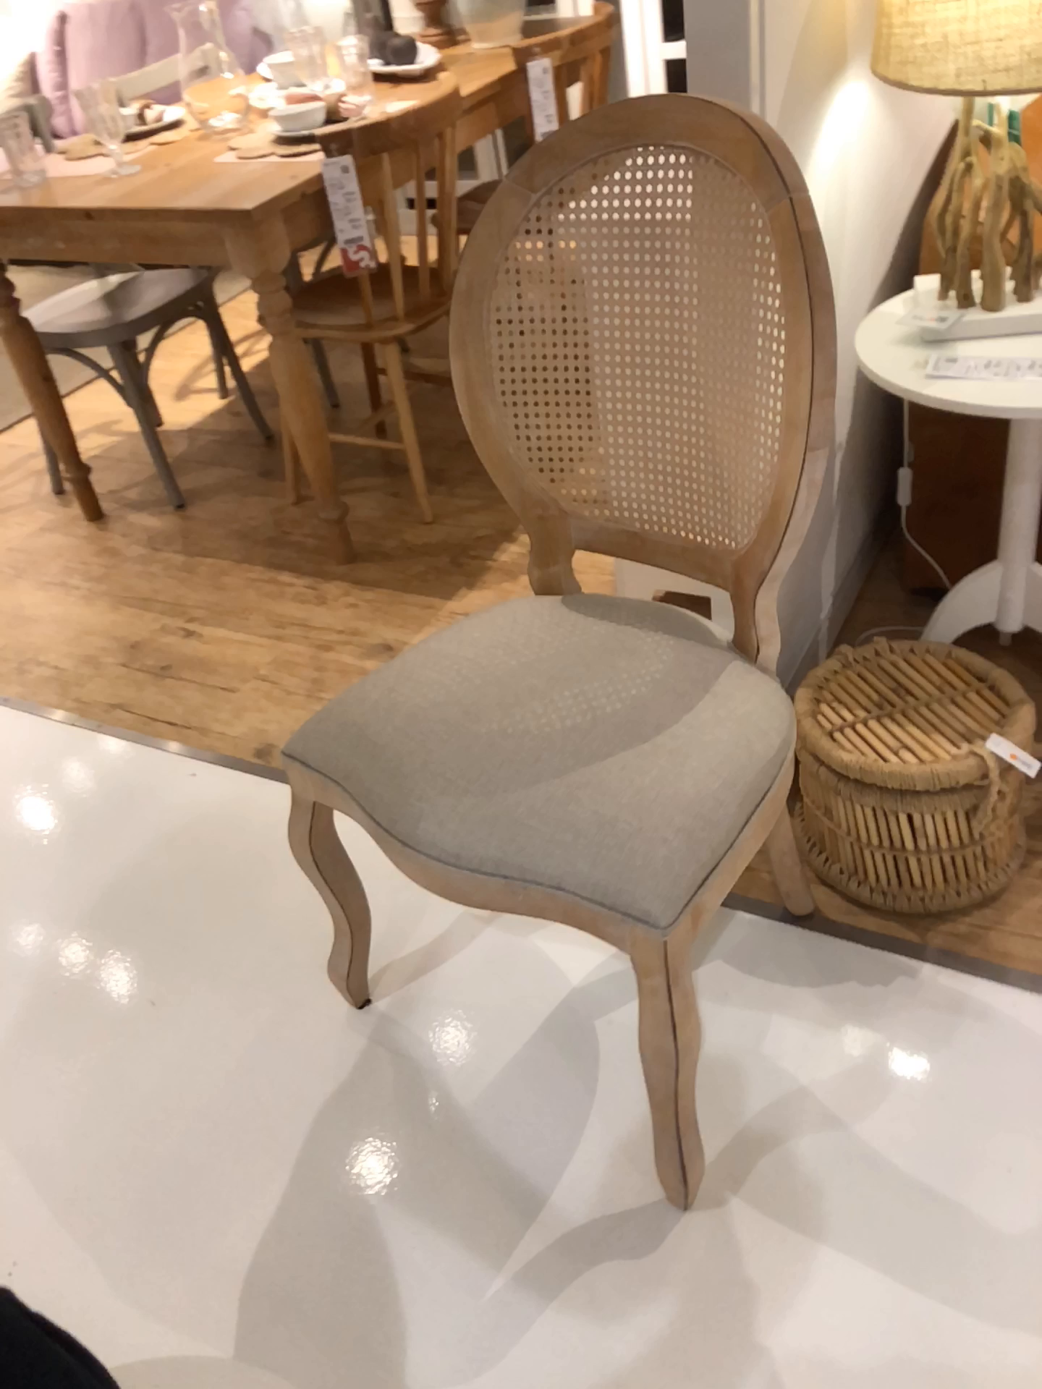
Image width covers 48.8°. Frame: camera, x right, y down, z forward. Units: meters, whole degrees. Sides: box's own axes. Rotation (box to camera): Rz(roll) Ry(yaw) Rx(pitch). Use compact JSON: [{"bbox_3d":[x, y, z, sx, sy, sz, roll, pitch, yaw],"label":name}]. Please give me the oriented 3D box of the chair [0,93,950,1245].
[{"bbox_3d":[0.023,-0.039,1.214,0.592,0.962,0.522,19,46,34],"label":"chair"}]
